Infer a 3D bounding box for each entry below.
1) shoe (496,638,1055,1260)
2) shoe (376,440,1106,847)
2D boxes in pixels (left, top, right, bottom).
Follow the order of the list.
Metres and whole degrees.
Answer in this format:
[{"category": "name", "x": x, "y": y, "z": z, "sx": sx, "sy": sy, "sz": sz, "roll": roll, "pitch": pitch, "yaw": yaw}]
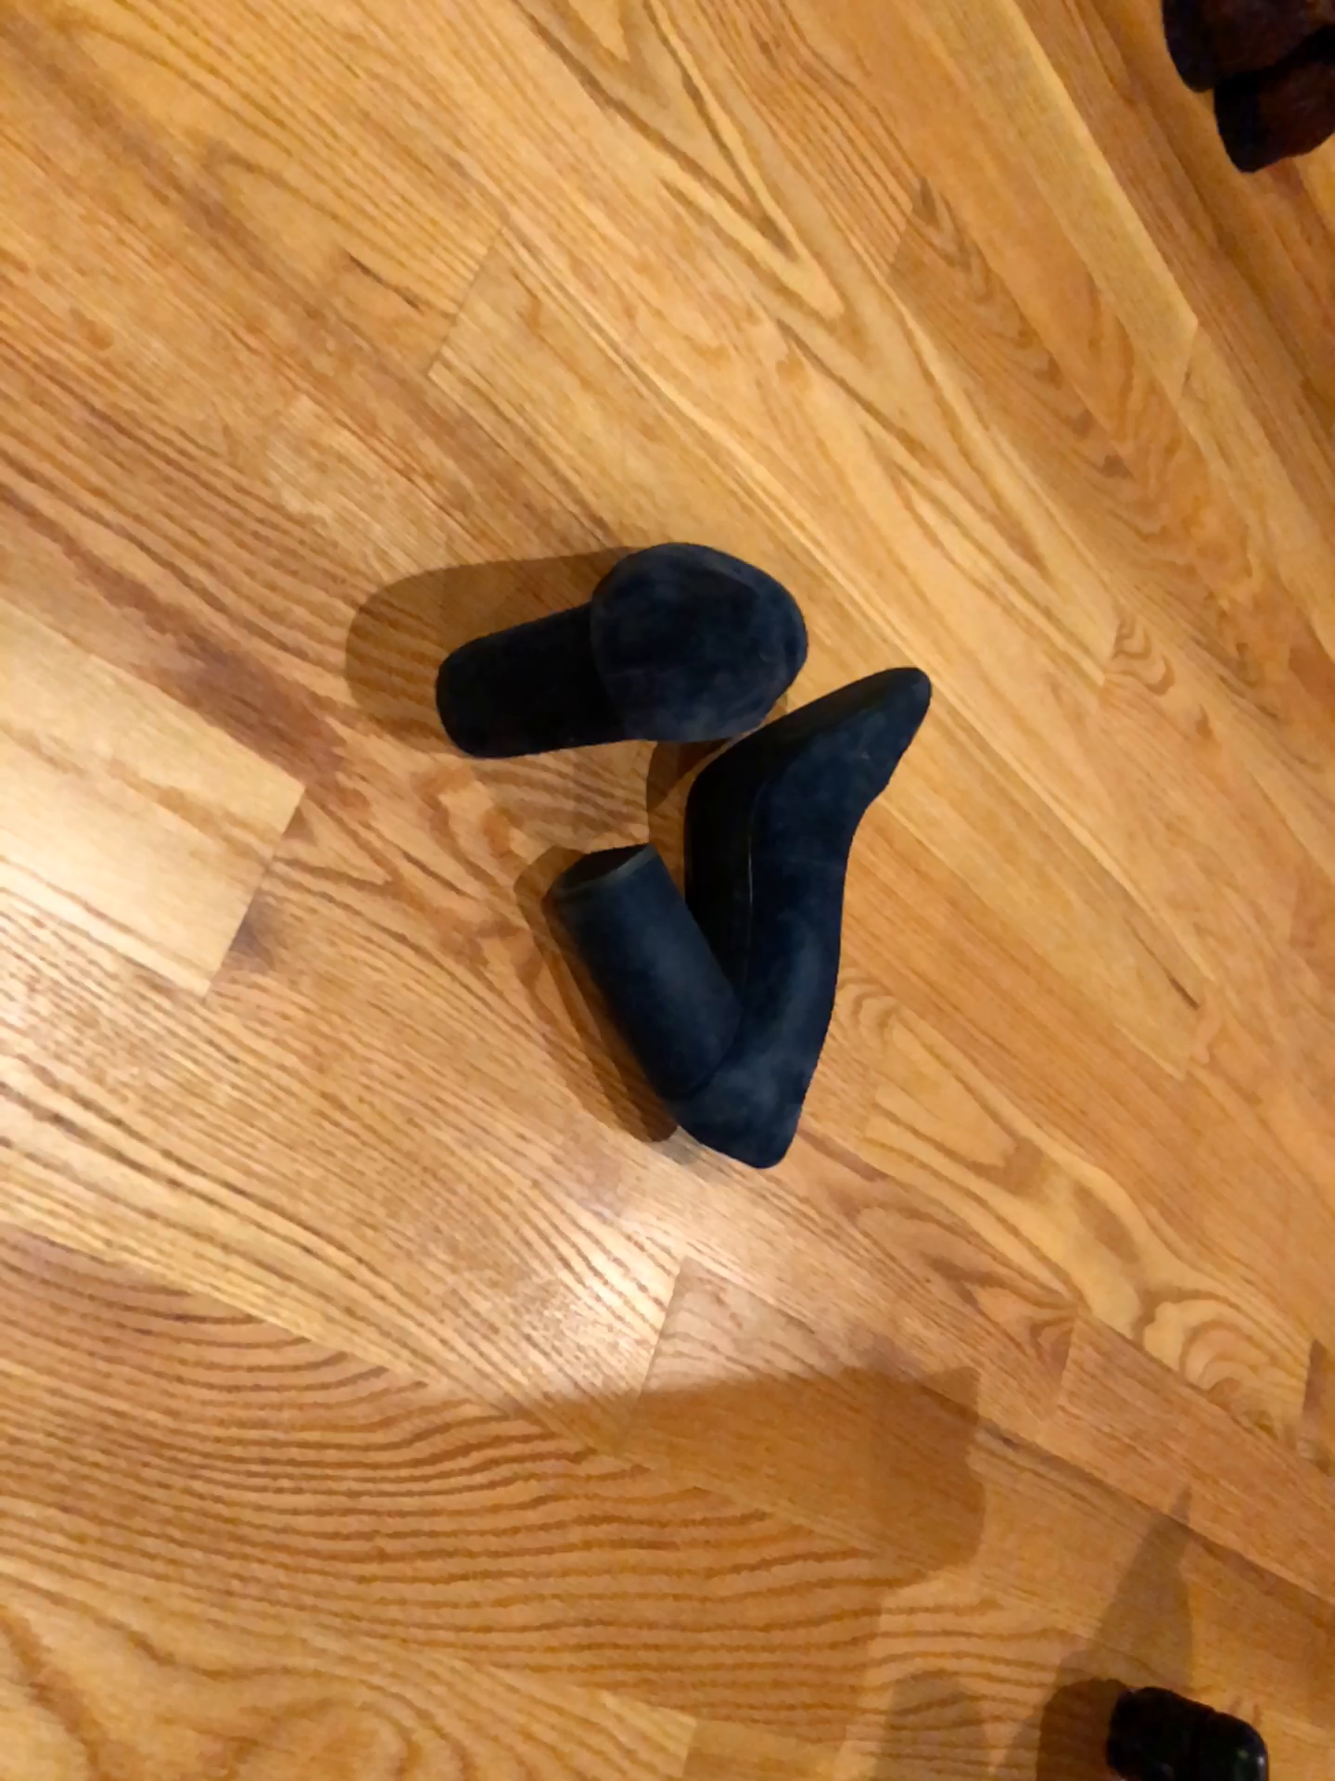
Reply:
[{"category": "shoe", "x": 0.056, "y": 0.017, "z": 0.596, "sx": 0.205, "sy": 0.080, "sz": 0.152, "roll": -43, "pitch": 117, "yaw": -39}, {"category": "shoe", "x": 0.036, "y": -0.094, "z": 0.542, "sx": 0.227, "sy": 0.146, "sz": 0.080, "roll": -26, "pitch": 106, "yaw": -43}]
